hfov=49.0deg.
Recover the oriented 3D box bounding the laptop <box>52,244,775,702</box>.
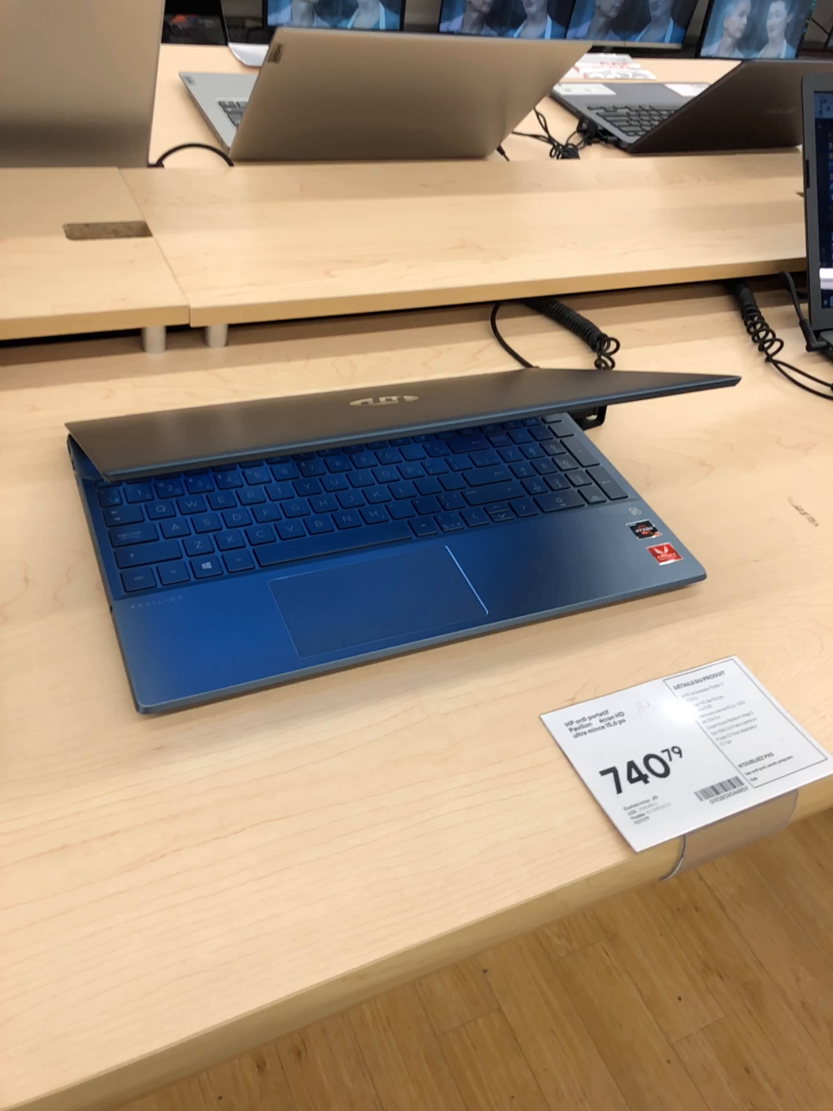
[{"bbox_3d":[-0.009,-0.073,0.544,0.350,0.119,0.209,-11,47,-23],"label":"laptop"}]
